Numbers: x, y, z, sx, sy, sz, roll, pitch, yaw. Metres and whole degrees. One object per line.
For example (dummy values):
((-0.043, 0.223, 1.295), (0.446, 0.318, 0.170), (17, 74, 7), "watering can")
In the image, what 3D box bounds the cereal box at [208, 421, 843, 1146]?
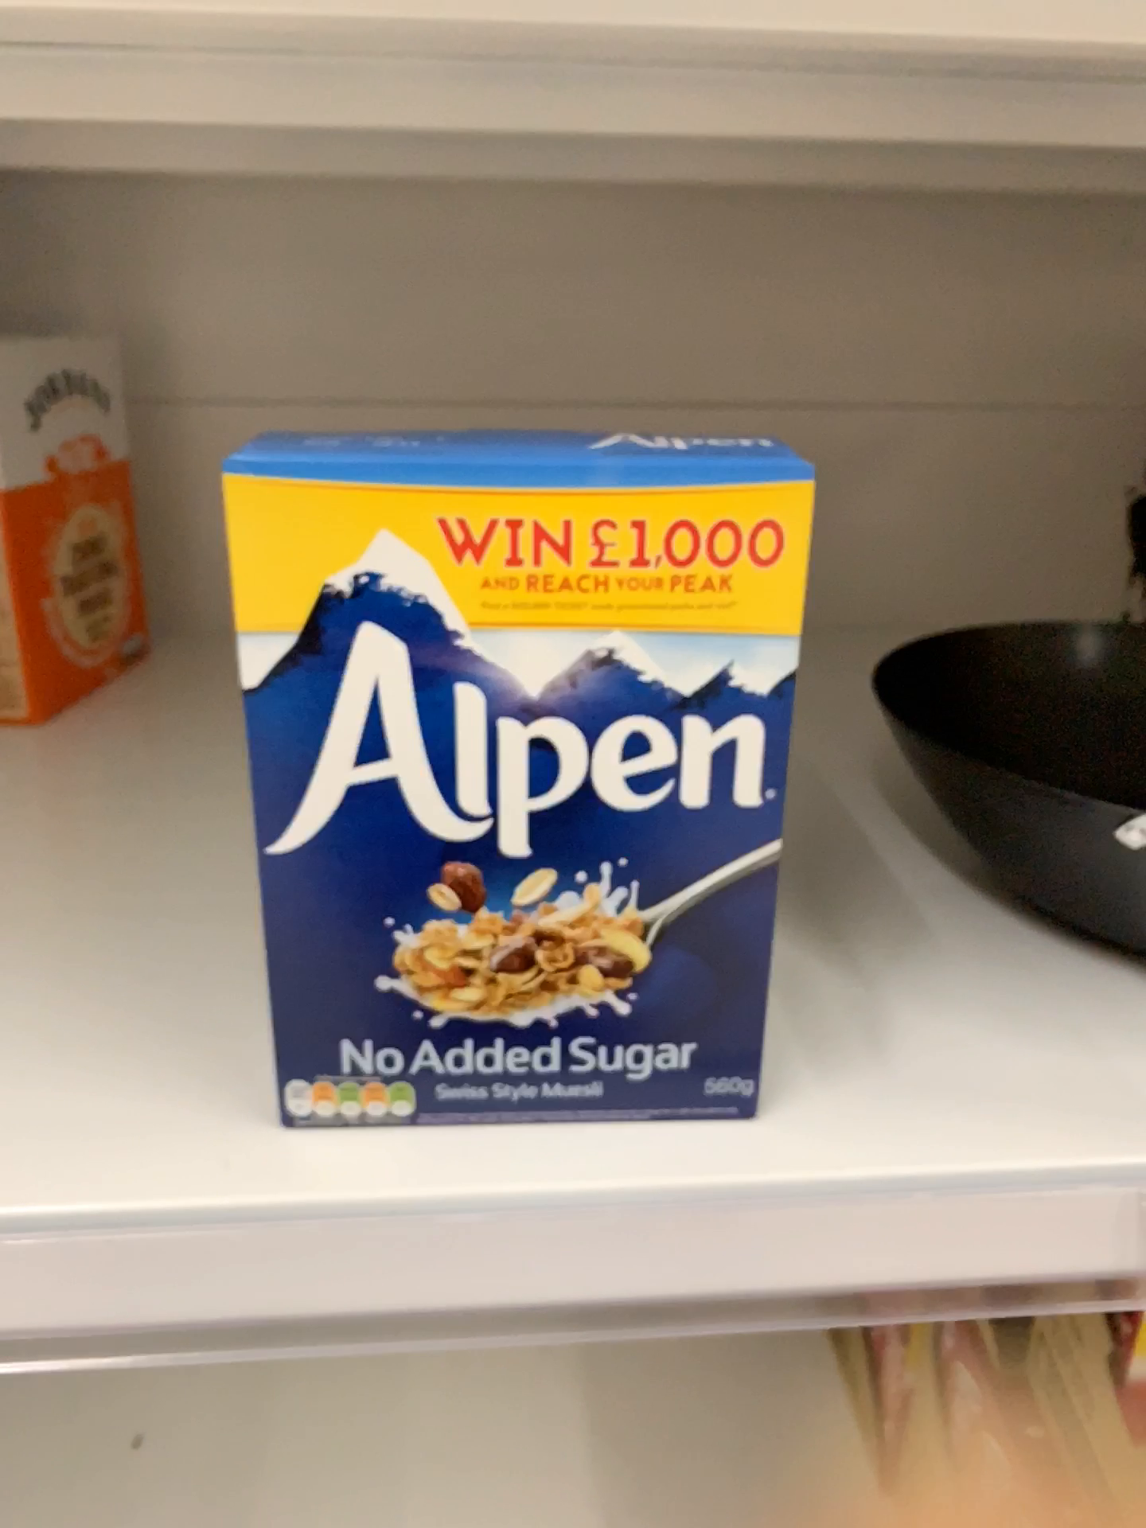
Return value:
((-0.015, 0.010, 0.410), (0.180, 0.238, 0.060), (0, 20, -3), "cereal box")
